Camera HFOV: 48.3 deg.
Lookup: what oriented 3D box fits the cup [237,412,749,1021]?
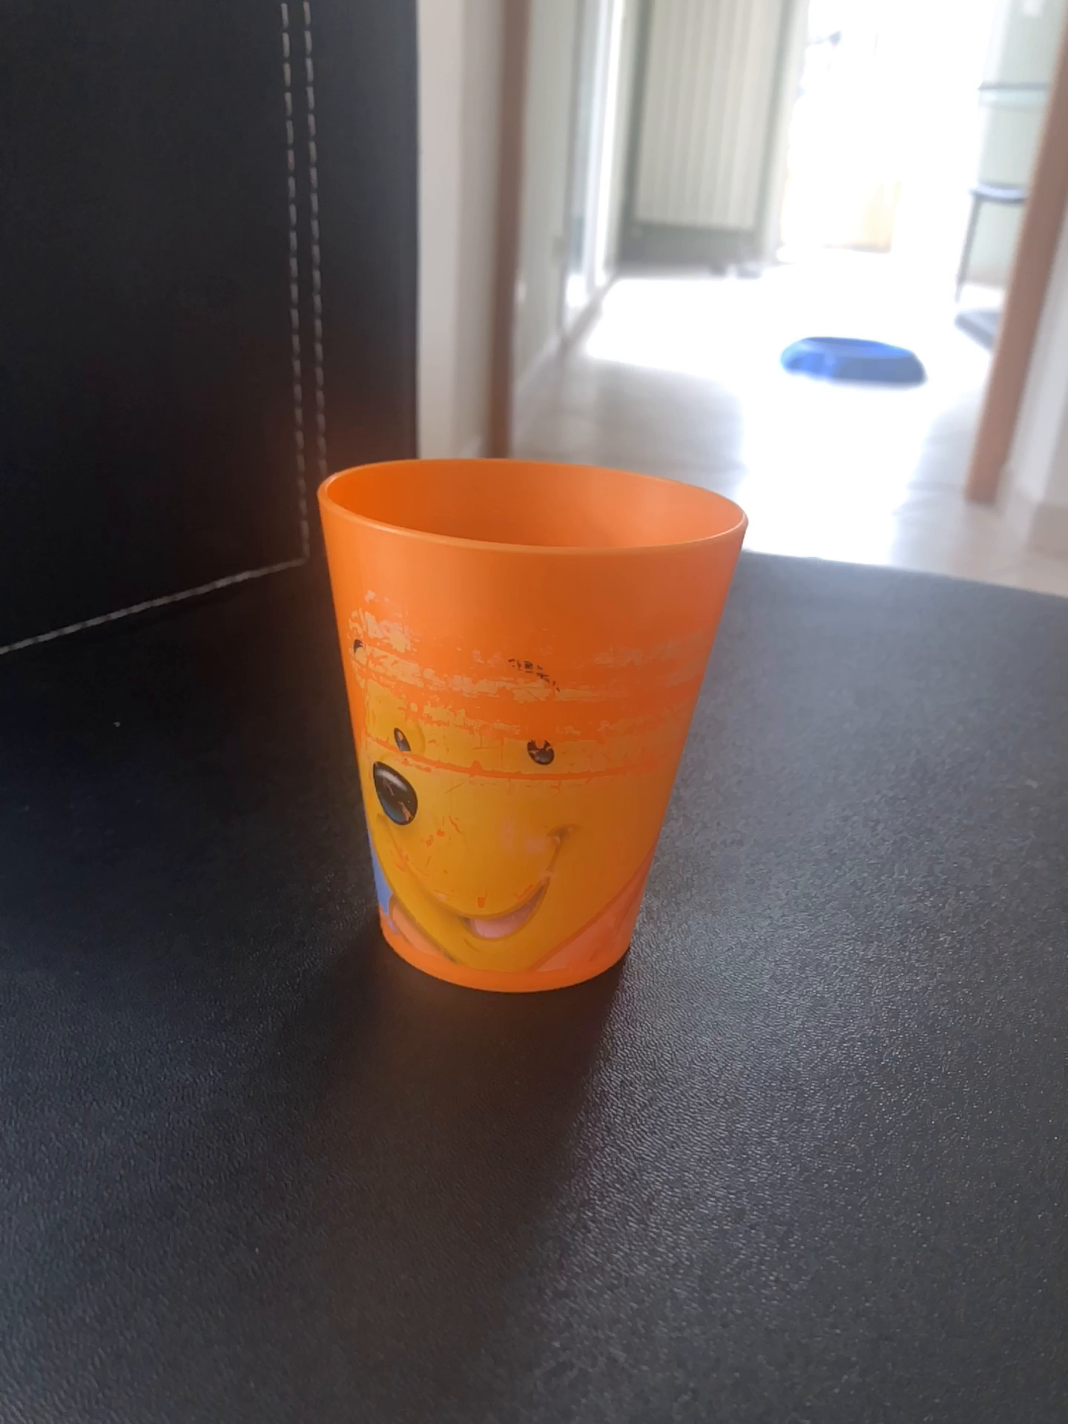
[{"bbox_3d":[-0.005,-0.004,0.239,0.080,0.090,0.080,3,24,-1],"label":"cup"}]
